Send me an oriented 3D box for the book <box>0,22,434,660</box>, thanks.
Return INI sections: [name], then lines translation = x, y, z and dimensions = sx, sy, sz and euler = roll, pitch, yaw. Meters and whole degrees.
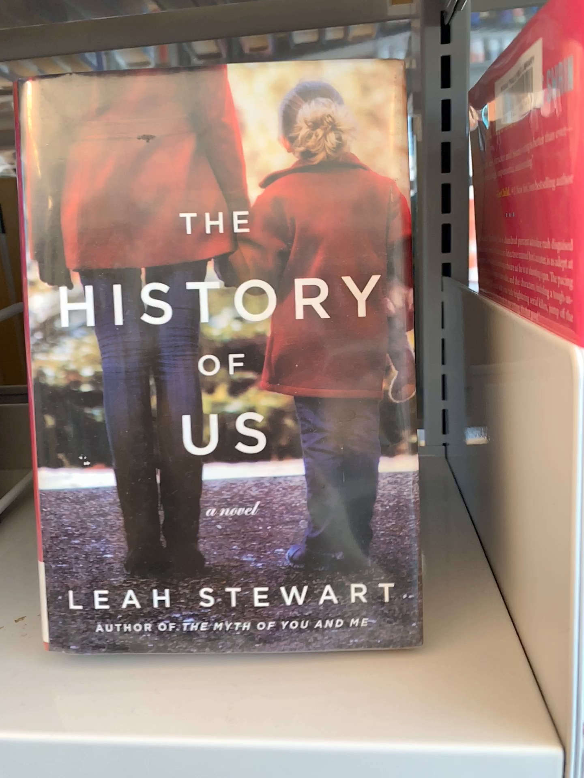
[book]
translation = -0.030, -0.011, 0.238
dimensions = 0.153, 0.220, 0.040
euler = -3, 4, 5
